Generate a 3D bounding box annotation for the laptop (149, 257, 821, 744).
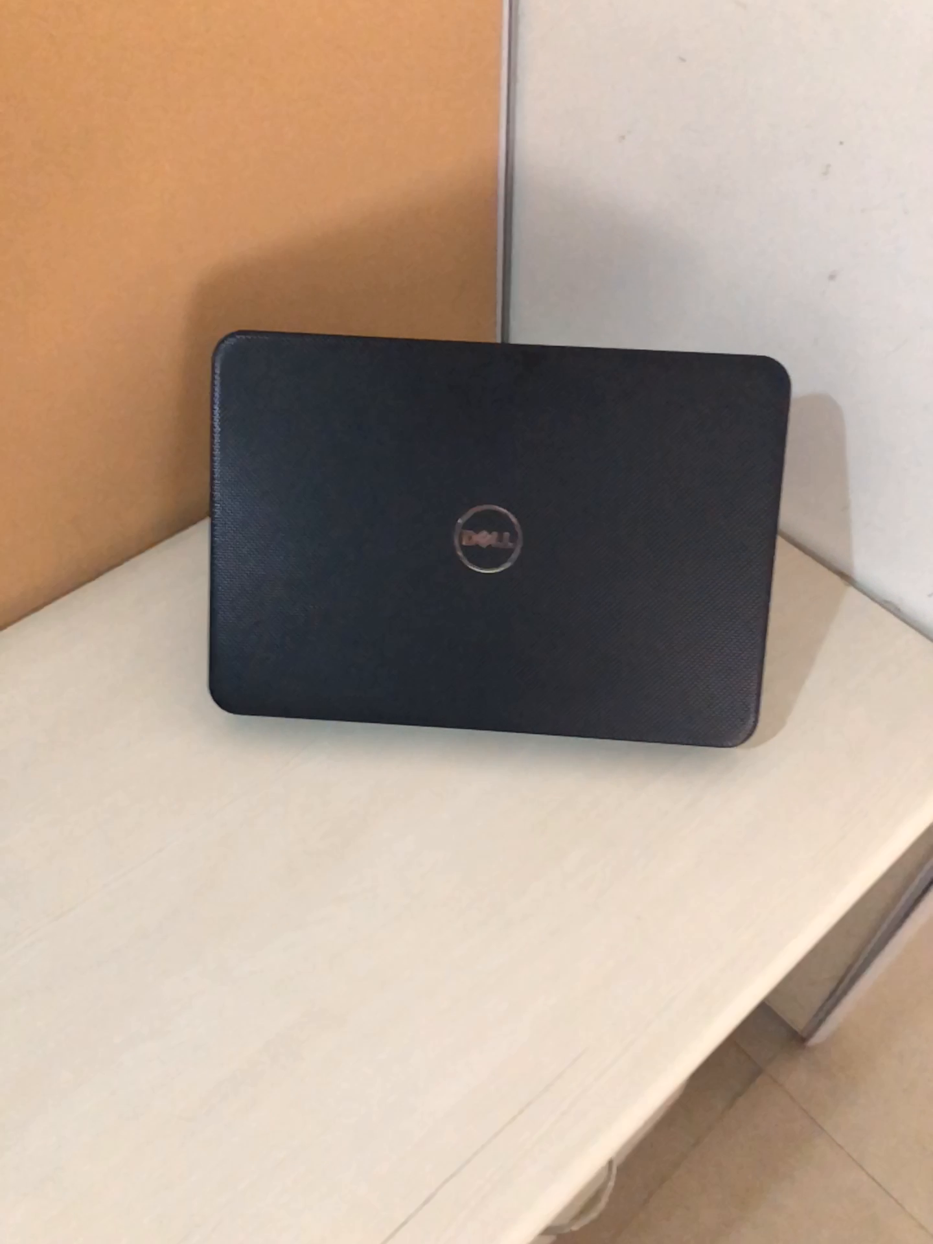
[{"bbox_3d":[0.019,-0.086,0.689,0.351,0.179,0.255,4,49,1],"label":"laptop"}]
